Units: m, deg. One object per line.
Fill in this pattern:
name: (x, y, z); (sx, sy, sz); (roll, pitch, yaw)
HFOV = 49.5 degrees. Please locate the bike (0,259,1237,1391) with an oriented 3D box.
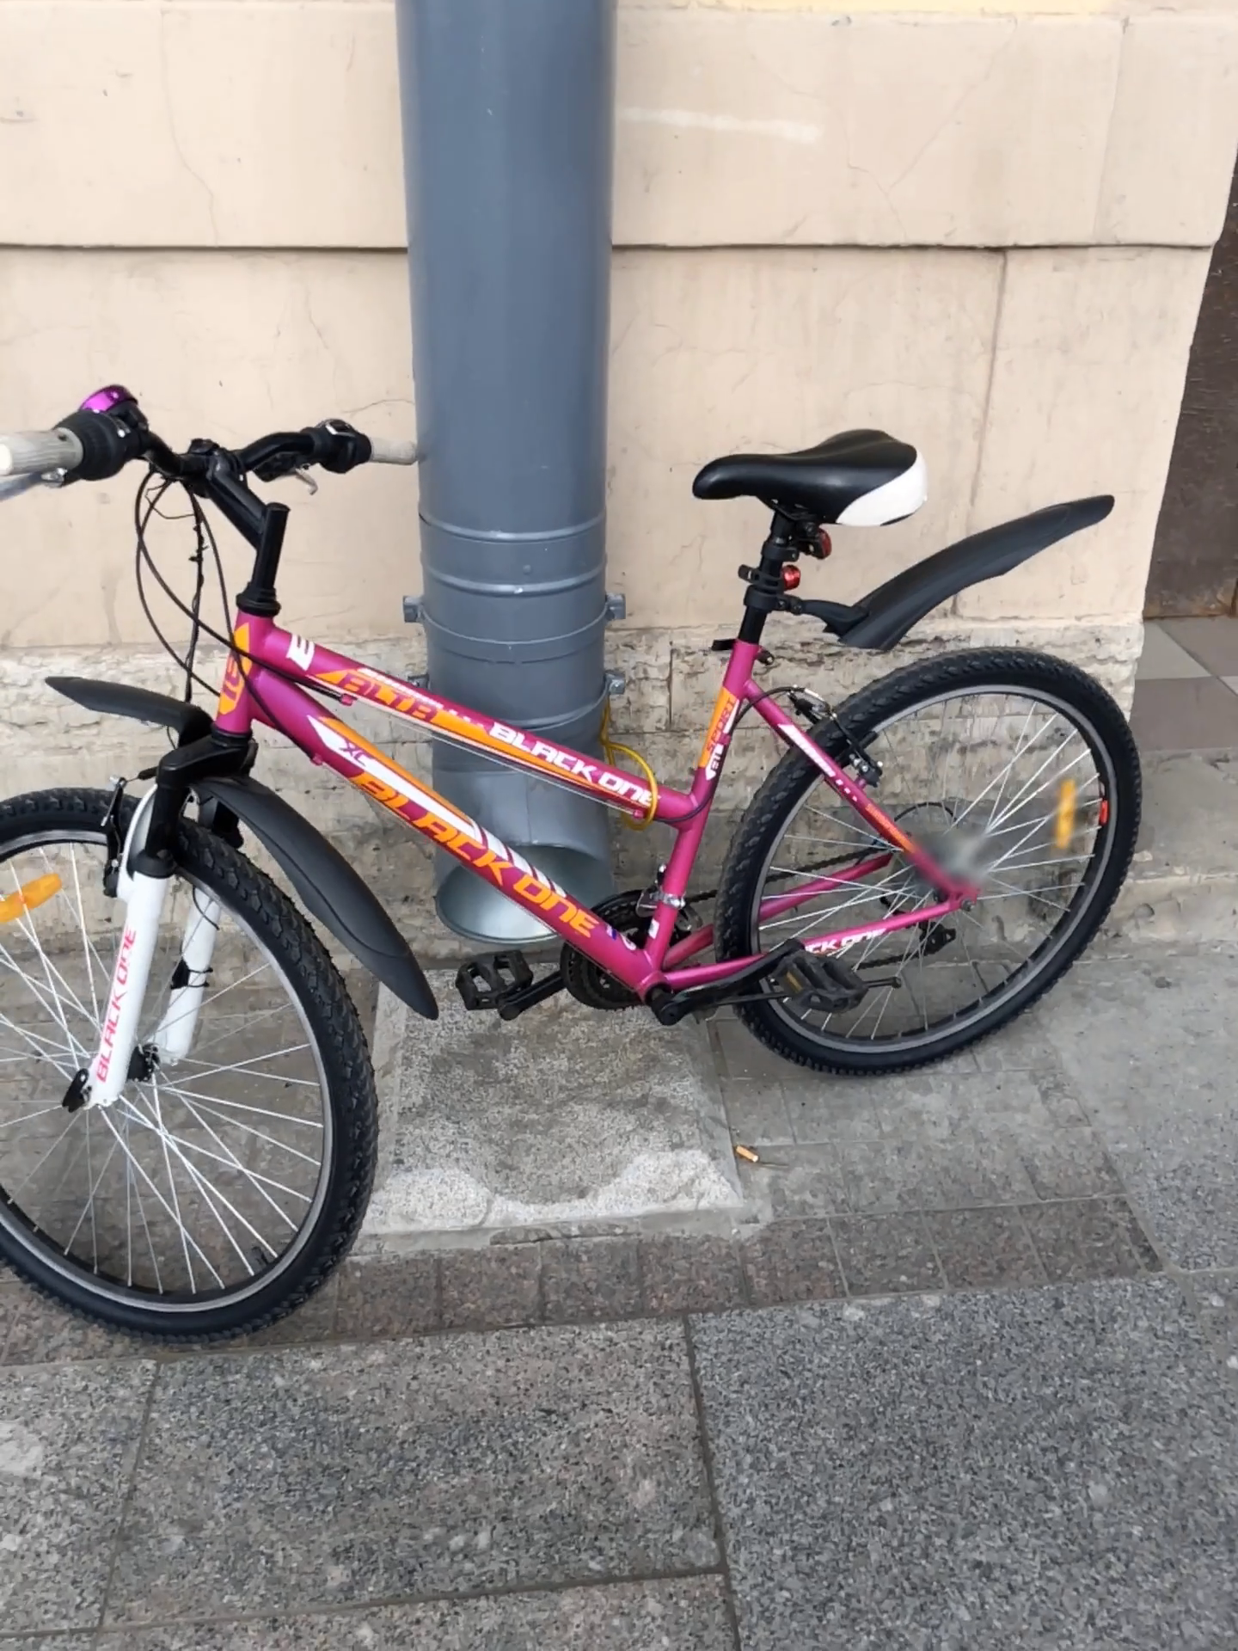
bike: (-0.094, -0.061, 1.615); (1.574, 0.974, 0.626); (-8, 31, -11)
